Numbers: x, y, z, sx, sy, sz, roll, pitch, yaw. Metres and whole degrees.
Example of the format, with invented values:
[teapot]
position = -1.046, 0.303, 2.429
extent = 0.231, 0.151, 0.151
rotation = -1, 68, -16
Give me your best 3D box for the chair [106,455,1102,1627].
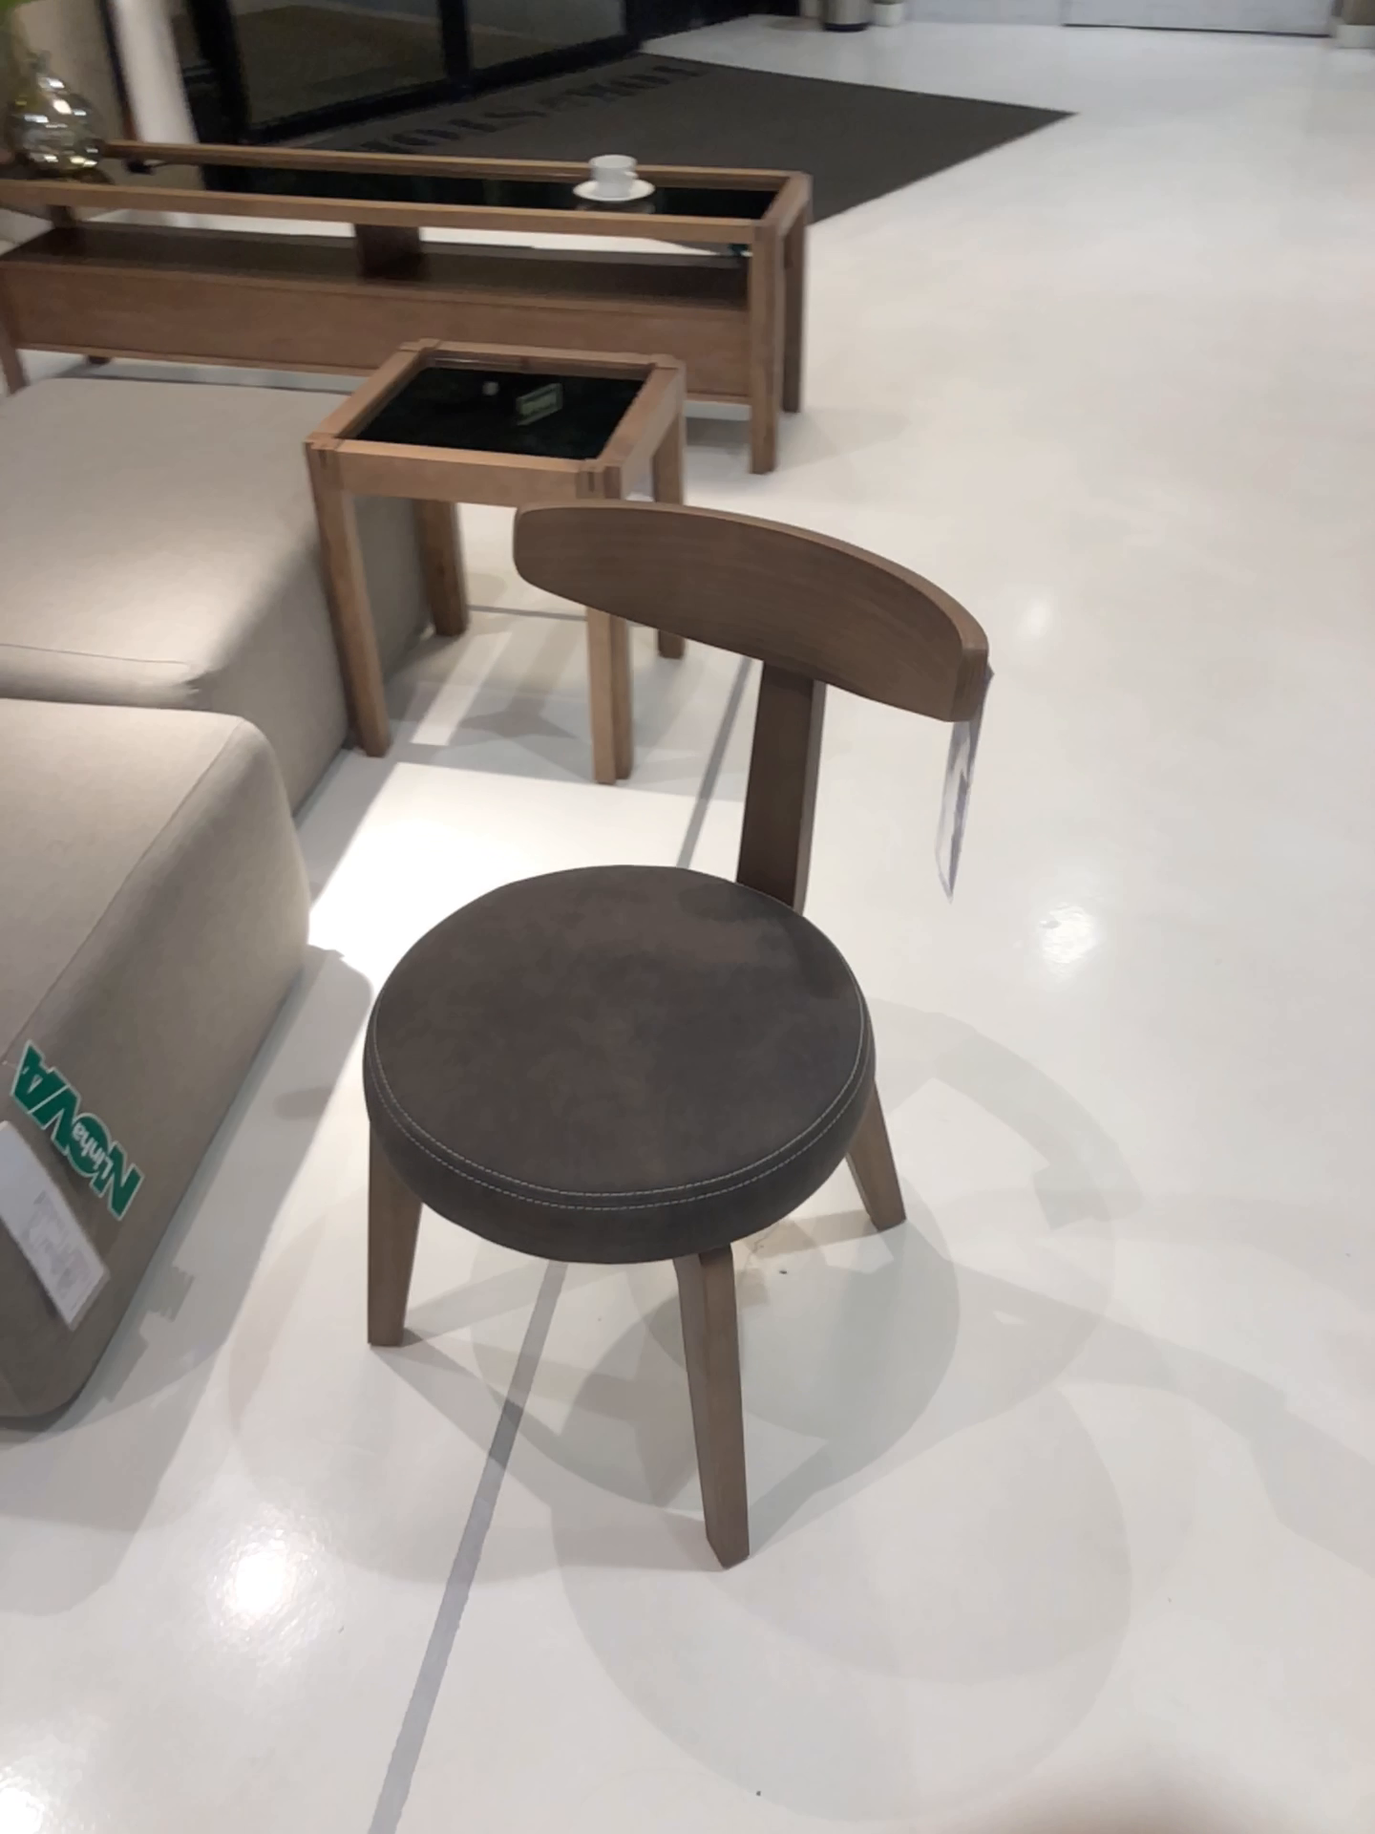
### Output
[chair]
position = -0.036, 0.084, 1.296
extent = 0.501, 0.705, 0.523
rotation = 22, 44, 26
